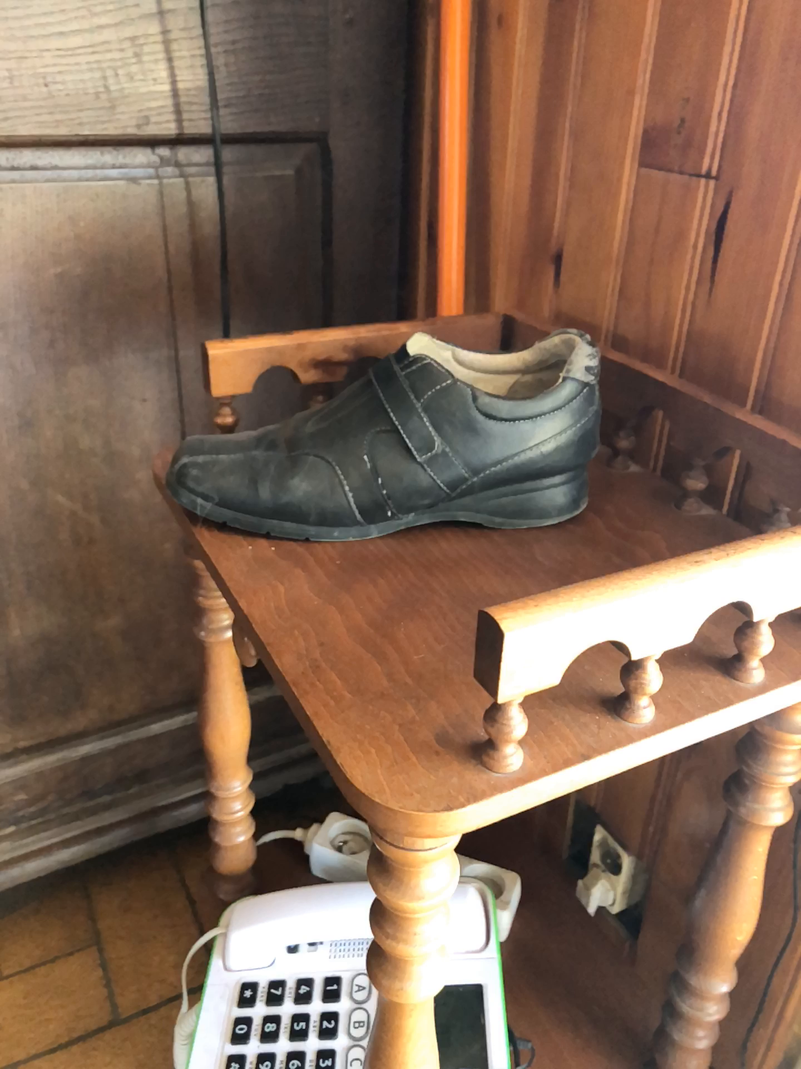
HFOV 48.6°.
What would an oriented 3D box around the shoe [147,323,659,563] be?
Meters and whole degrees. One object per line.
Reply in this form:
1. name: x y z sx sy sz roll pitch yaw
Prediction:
1. shoe: -0.001 -0.055 0.499 0.250 0.099 0.101 -1 29 -5
